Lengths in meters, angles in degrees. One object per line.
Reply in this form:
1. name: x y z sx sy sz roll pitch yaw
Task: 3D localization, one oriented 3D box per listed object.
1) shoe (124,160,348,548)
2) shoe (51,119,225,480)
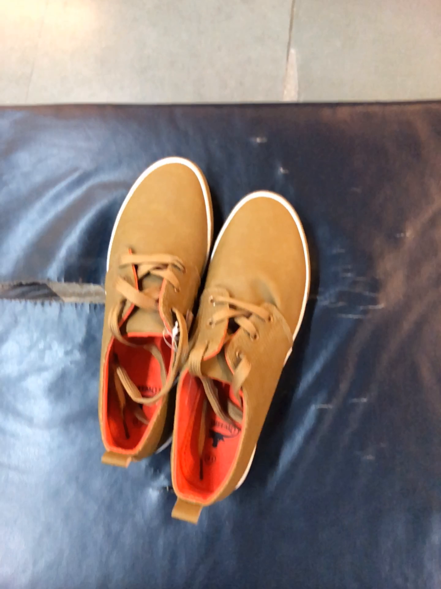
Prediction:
1. shoe: 0.018 0.040 0.395 0.095 0.091 0.261 15 79 6
2. shoe: -0.056 0.003 0.408 0.100 0.097 0.266 3 78 3
